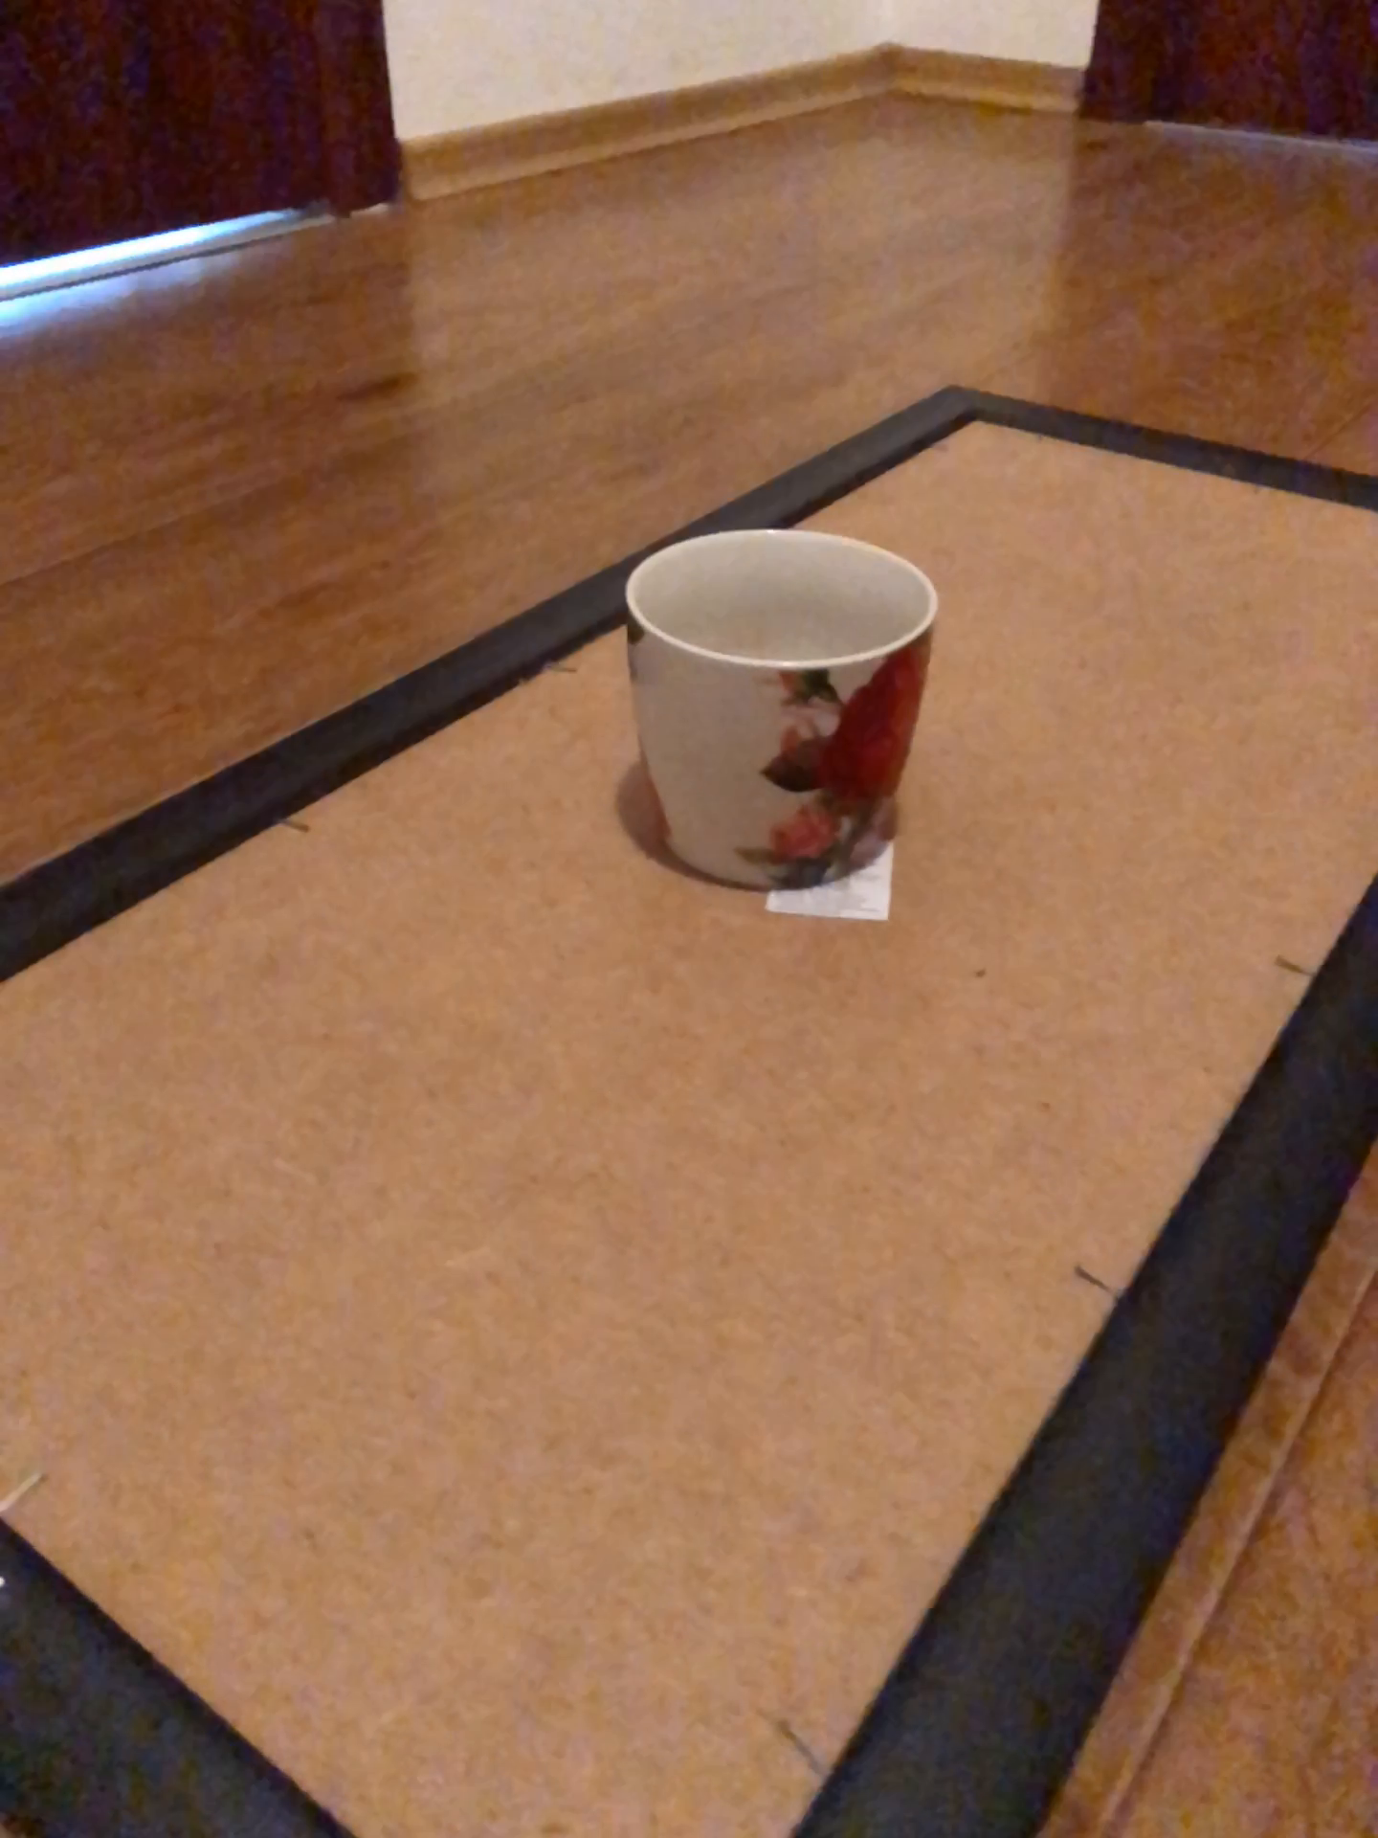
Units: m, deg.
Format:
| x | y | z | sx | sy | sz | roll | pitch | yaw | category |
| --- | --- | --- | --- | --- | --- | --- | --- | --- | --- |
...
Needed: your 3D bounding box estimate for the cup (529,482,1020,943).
| x | y | z | sx | sy | sz | roll | pitch | yaw | category |
| --- | --- | --- | --- | --- | --- | --- | --- | --- | --- |
| 0.028 | -0.071 | 0.477 | 0.098 | 0.079 | 0.122 | 23 | 41 | 27 | cup |
